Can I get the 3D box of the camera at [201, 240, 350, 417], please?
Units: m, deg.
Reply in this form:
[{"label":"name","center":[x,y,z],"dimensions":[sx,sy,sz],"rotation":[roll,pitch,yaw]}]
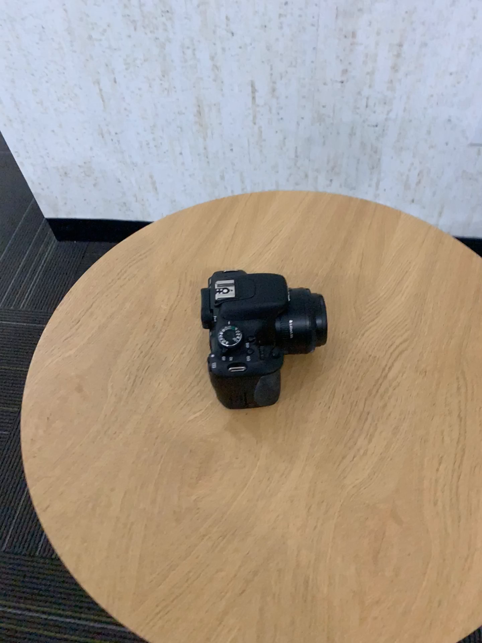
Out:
[{"label":"camera","center":[0.027,0.007,0.477],"dimensions":[0.120,0.100,0.130],"rotation":[-4,54,1]}]
